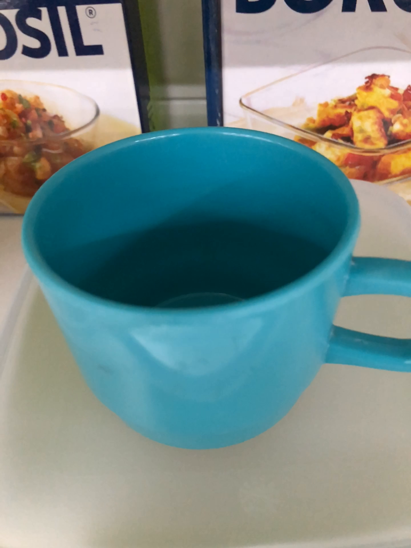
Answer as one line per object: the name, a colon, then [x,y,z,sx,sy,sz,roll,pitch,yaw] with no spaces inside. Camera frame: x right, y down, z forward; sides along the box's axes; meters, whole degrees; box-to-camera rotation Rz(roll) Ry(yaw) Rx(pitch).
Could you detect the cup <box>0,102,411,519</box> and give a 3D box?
cup: [0.014,0.002,0.138,0.120,0.070,0.091,5,42,9]
